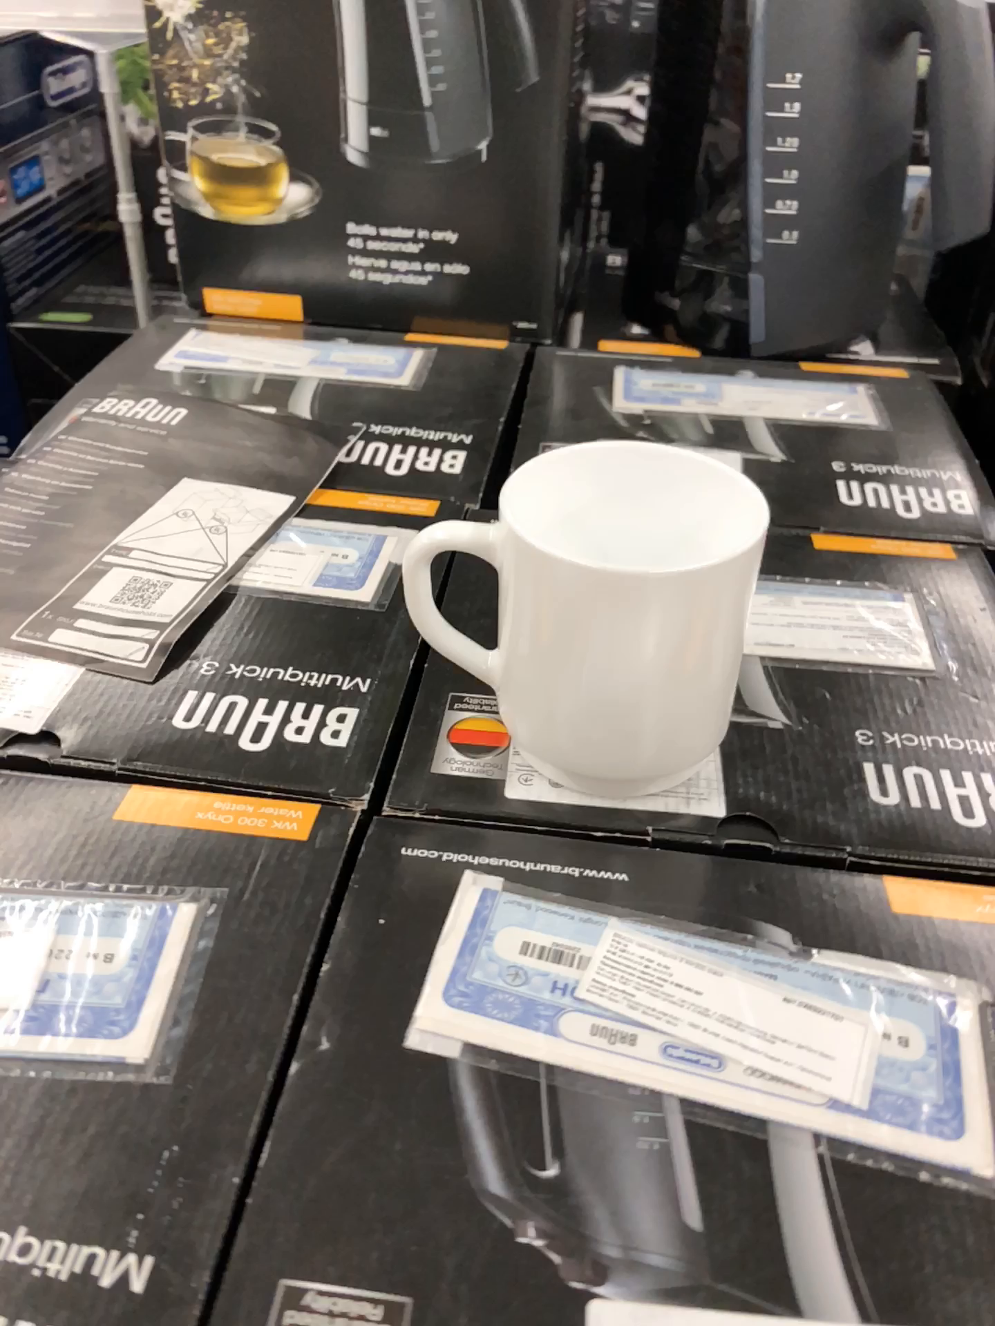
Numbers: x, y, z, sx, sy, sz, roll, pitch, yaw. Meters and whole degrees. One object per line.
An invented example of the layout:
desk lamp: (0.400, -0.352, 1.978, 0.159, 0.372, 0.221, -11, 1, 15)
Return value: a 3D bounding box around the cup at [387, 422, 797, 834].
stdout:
cup: (0.033, -0.014, 0.352, 0.110, 0.091, 0.083, 6, 35, 10)
